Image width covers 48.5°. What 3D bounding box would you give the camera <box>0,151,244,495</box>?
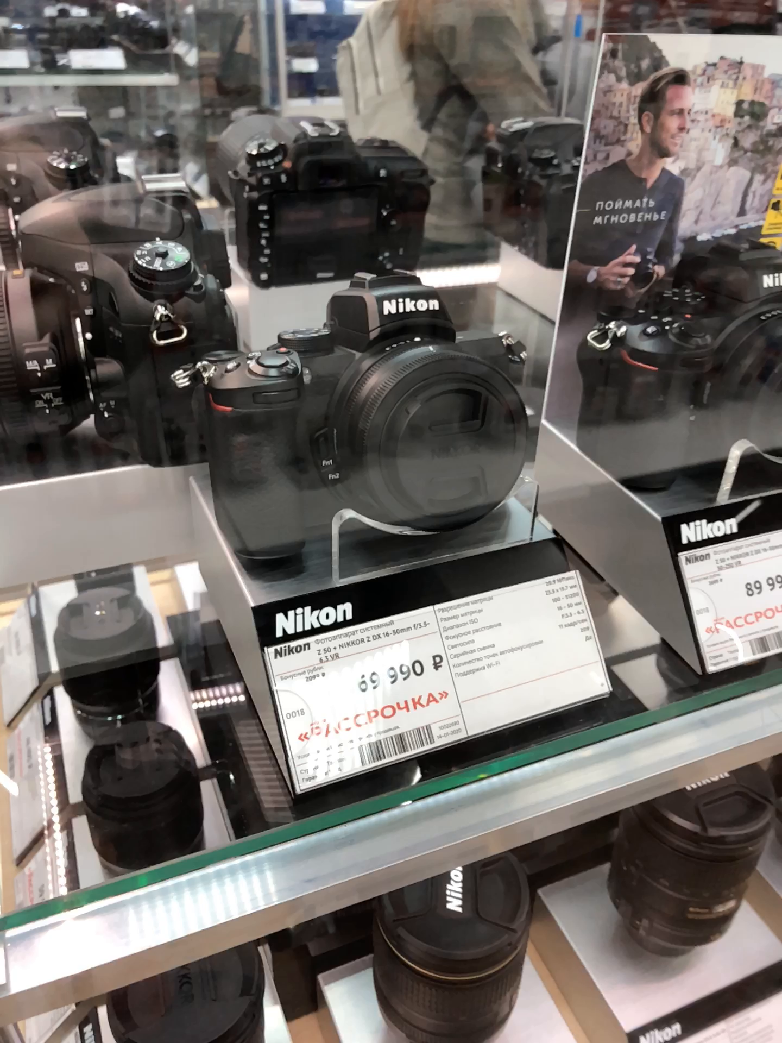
[{"bbox_3d":[-0.156,-0.100,0.407,0.150,0.112,0.130,-7,33,-19],"label":"camera"}]

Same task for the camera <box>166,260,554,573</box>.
[{"bbox_3d":[-0.014,-0.050,0.350,0.127,0.092,0.090,-11,22,-20],"label":"camera"}]
